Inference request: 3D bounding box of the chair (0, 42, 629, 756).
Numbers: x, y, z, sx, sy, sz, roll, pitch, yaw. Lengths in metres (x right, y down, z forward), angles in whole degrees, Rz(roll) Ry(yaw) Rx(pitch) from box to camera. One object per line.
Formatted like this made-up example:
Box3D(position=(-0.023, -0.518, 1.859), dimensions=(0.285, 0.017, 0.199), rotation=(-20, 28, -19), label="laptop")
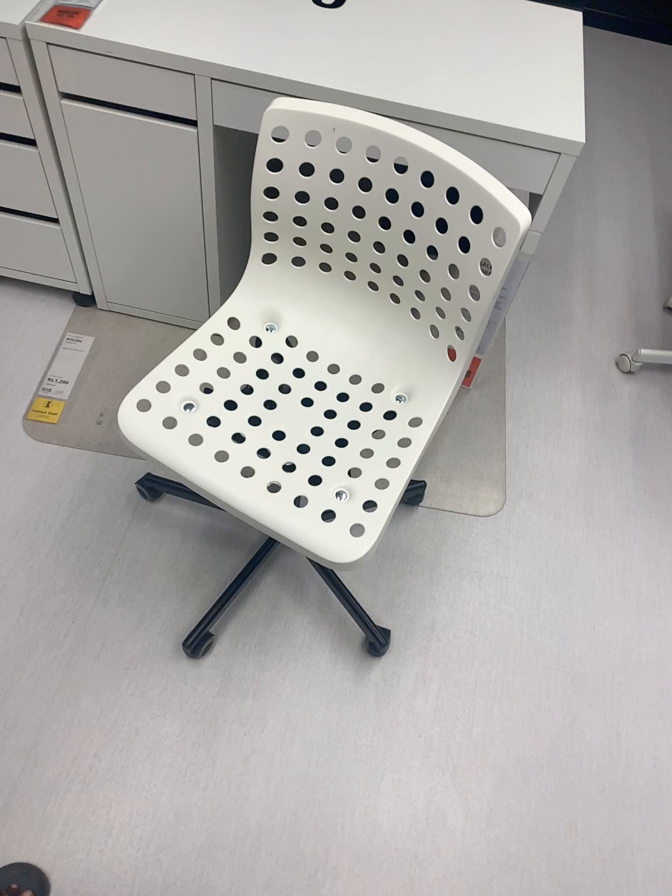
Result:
Box3D(position=(-0.089, -0.036, 1.169), dimensions=(0.680, 0.788, 0.671), rotation=(27, 58, 10), label="chair")
